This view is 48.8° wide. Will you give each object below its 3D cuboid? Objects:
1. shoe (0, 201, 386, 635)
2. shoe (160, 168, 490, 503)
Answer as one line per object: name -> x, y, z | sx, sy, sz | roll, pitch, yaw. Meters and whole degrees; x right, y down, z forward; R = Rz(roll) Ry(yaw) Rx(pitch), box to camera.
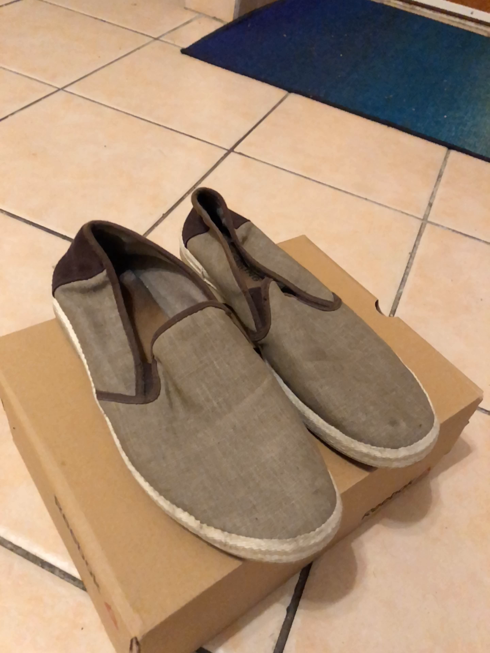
shoe -> -0.057, 0.032, 0.370 | 0.111, 0.069, 0.293 | -24, 54, -31
shoe -> 0.044, -0.015, 0.415 | 0.100, 0.069, 0.271 | -20, 53, -29
